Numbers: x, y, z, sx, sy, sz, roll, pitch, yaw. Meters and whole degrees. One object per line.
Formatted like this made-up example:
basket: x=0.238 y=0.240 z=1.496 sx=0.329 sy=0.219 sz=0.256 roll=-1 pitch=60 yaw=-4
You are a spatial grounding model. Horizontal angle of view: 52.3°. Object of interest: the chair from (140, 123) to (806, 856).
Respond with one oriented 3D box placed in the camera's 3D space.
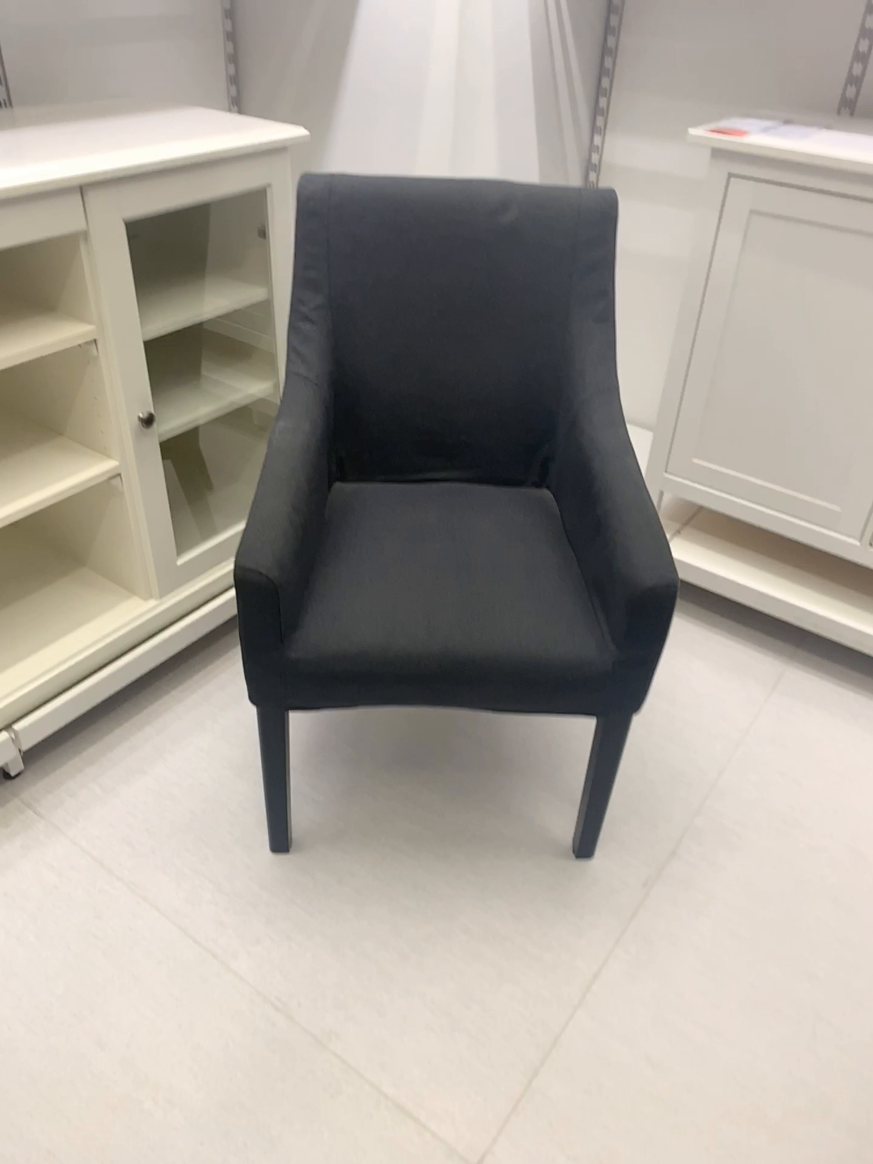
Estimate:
chair: x=0.017 y=-0.131 z=1.403 sx=0.660 sy=0.945 sz=0.613 roll=2 pitch=36 yaw=-2
